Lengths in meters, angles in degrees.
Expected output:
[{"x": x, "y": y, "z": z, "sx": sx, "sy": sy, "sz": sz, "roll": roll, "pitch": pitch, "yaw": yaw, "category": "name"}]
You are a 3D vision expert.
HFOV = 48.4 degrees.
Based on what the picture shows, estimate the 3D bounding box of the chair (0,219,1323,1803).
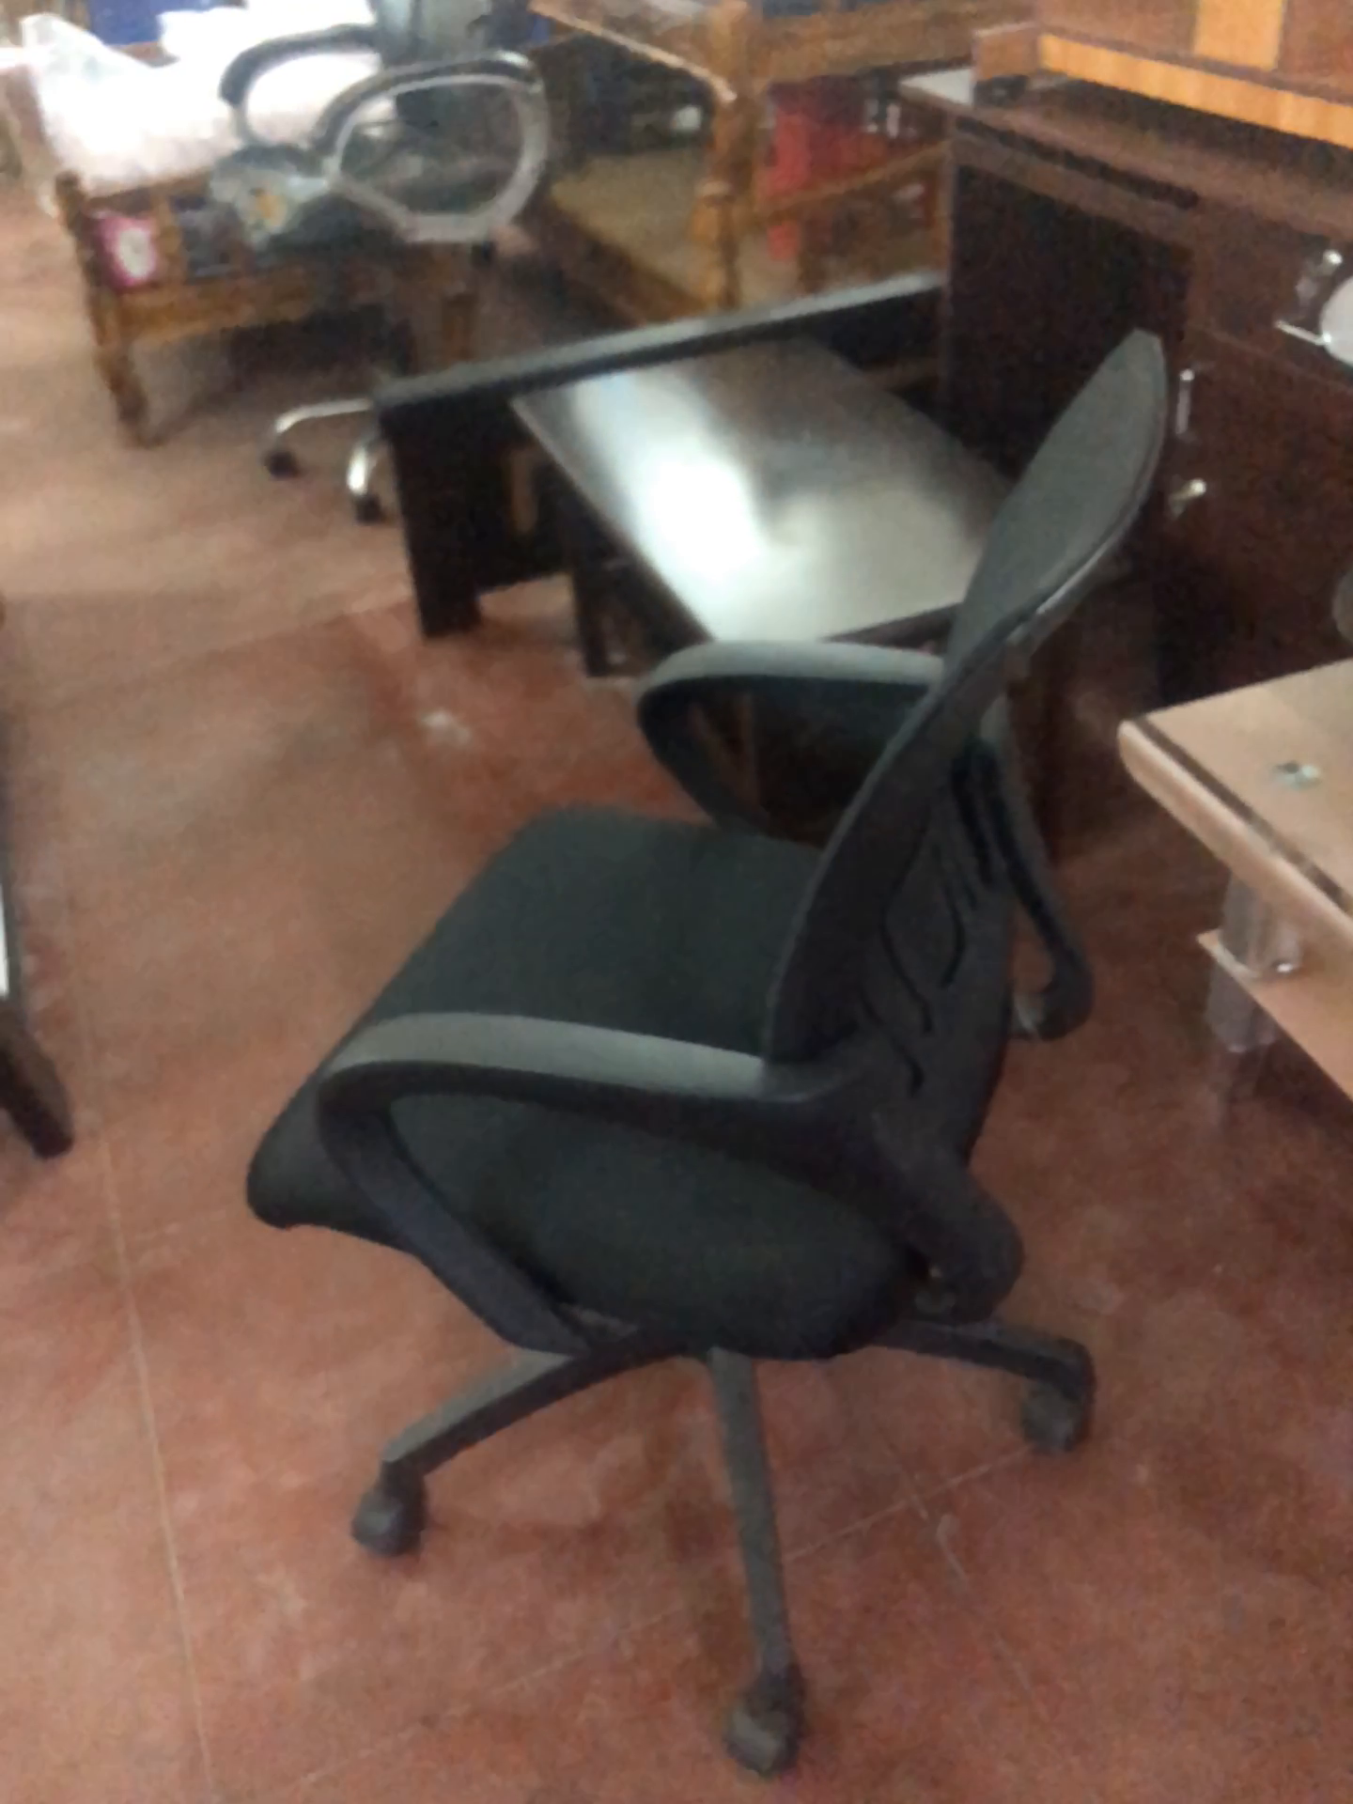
[{"x": 0.052, "y": 0.073, "z": 1.155, "sx": 0.630, "sy": 0.915, "sz": 0.754, "roll": 10, "pitch": 41, "yaw": 19, "category": "chair"}]
